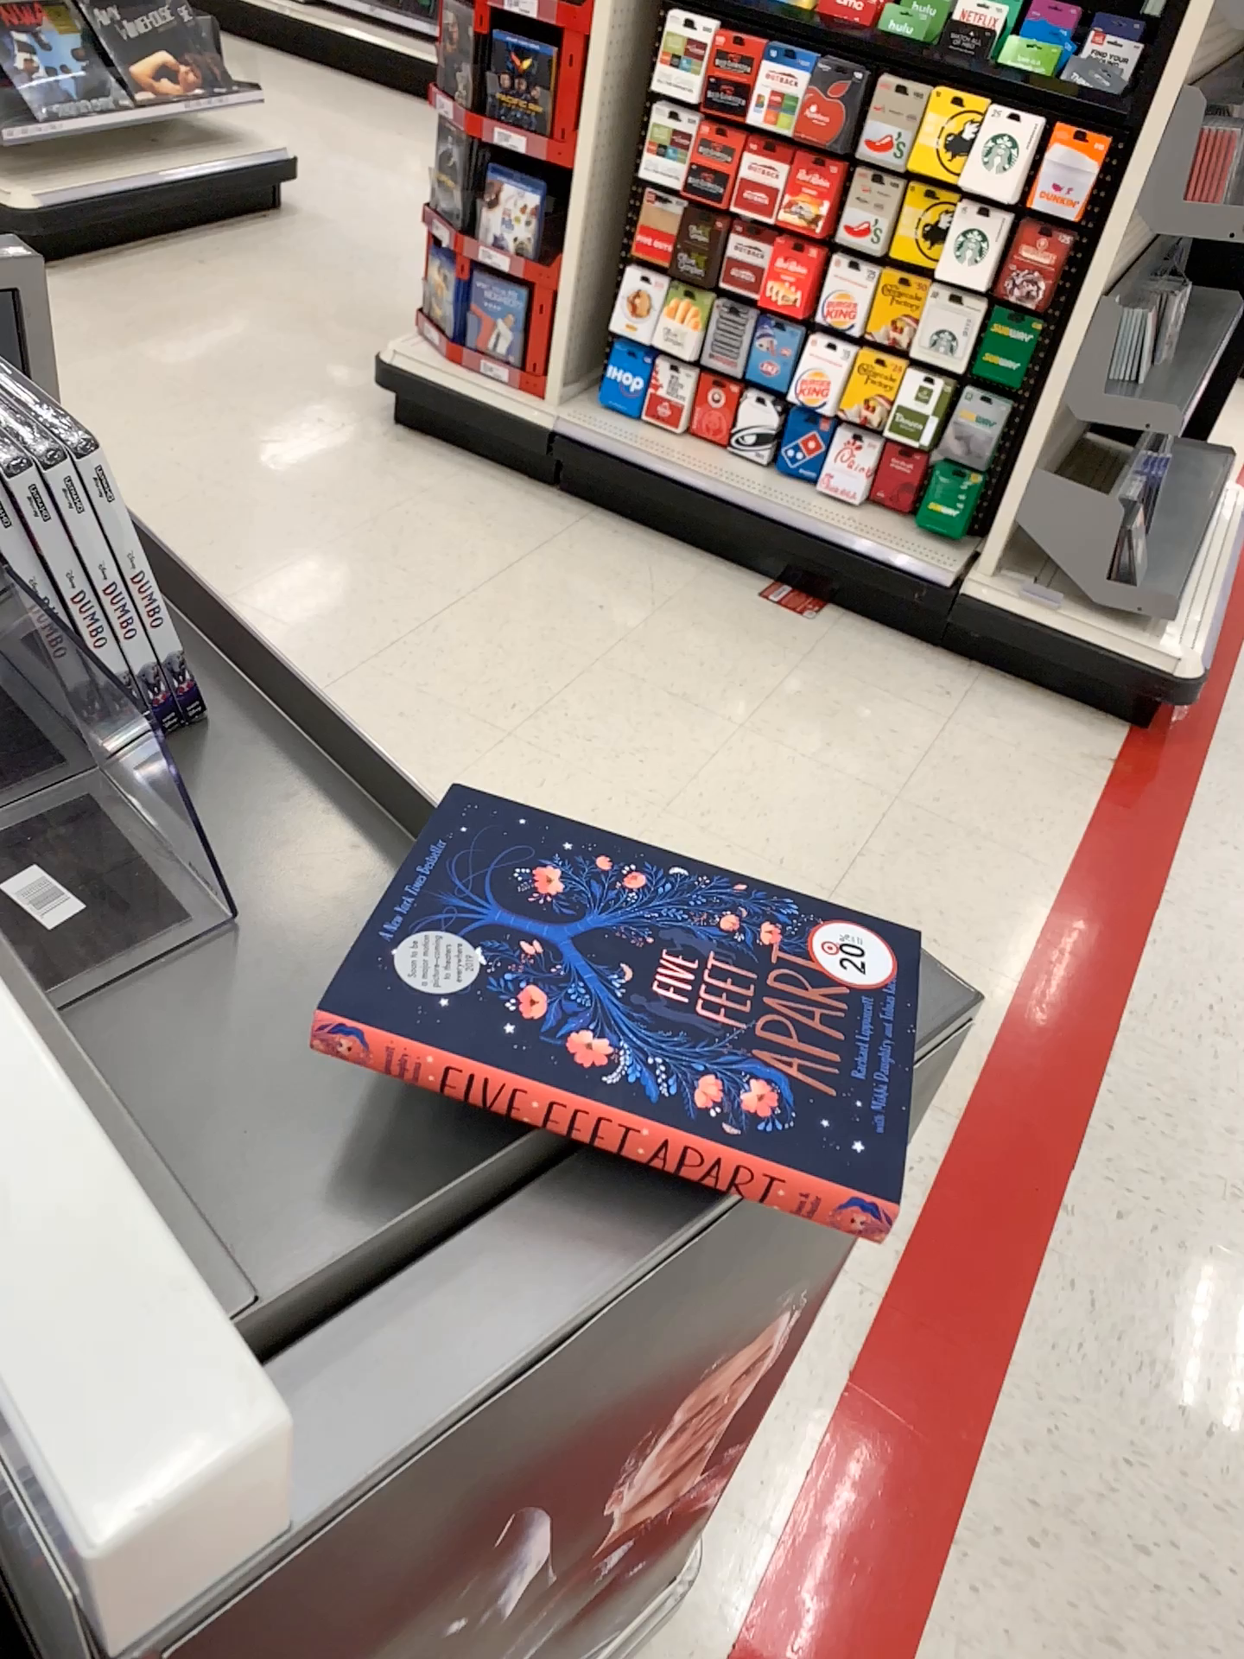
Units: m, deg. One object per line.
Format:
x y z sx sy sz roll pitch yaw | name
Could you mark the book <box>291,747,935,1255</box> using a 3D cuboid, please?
0.008 0.056 0.492 0.220 0.028 0.151 18 41 2 | book
